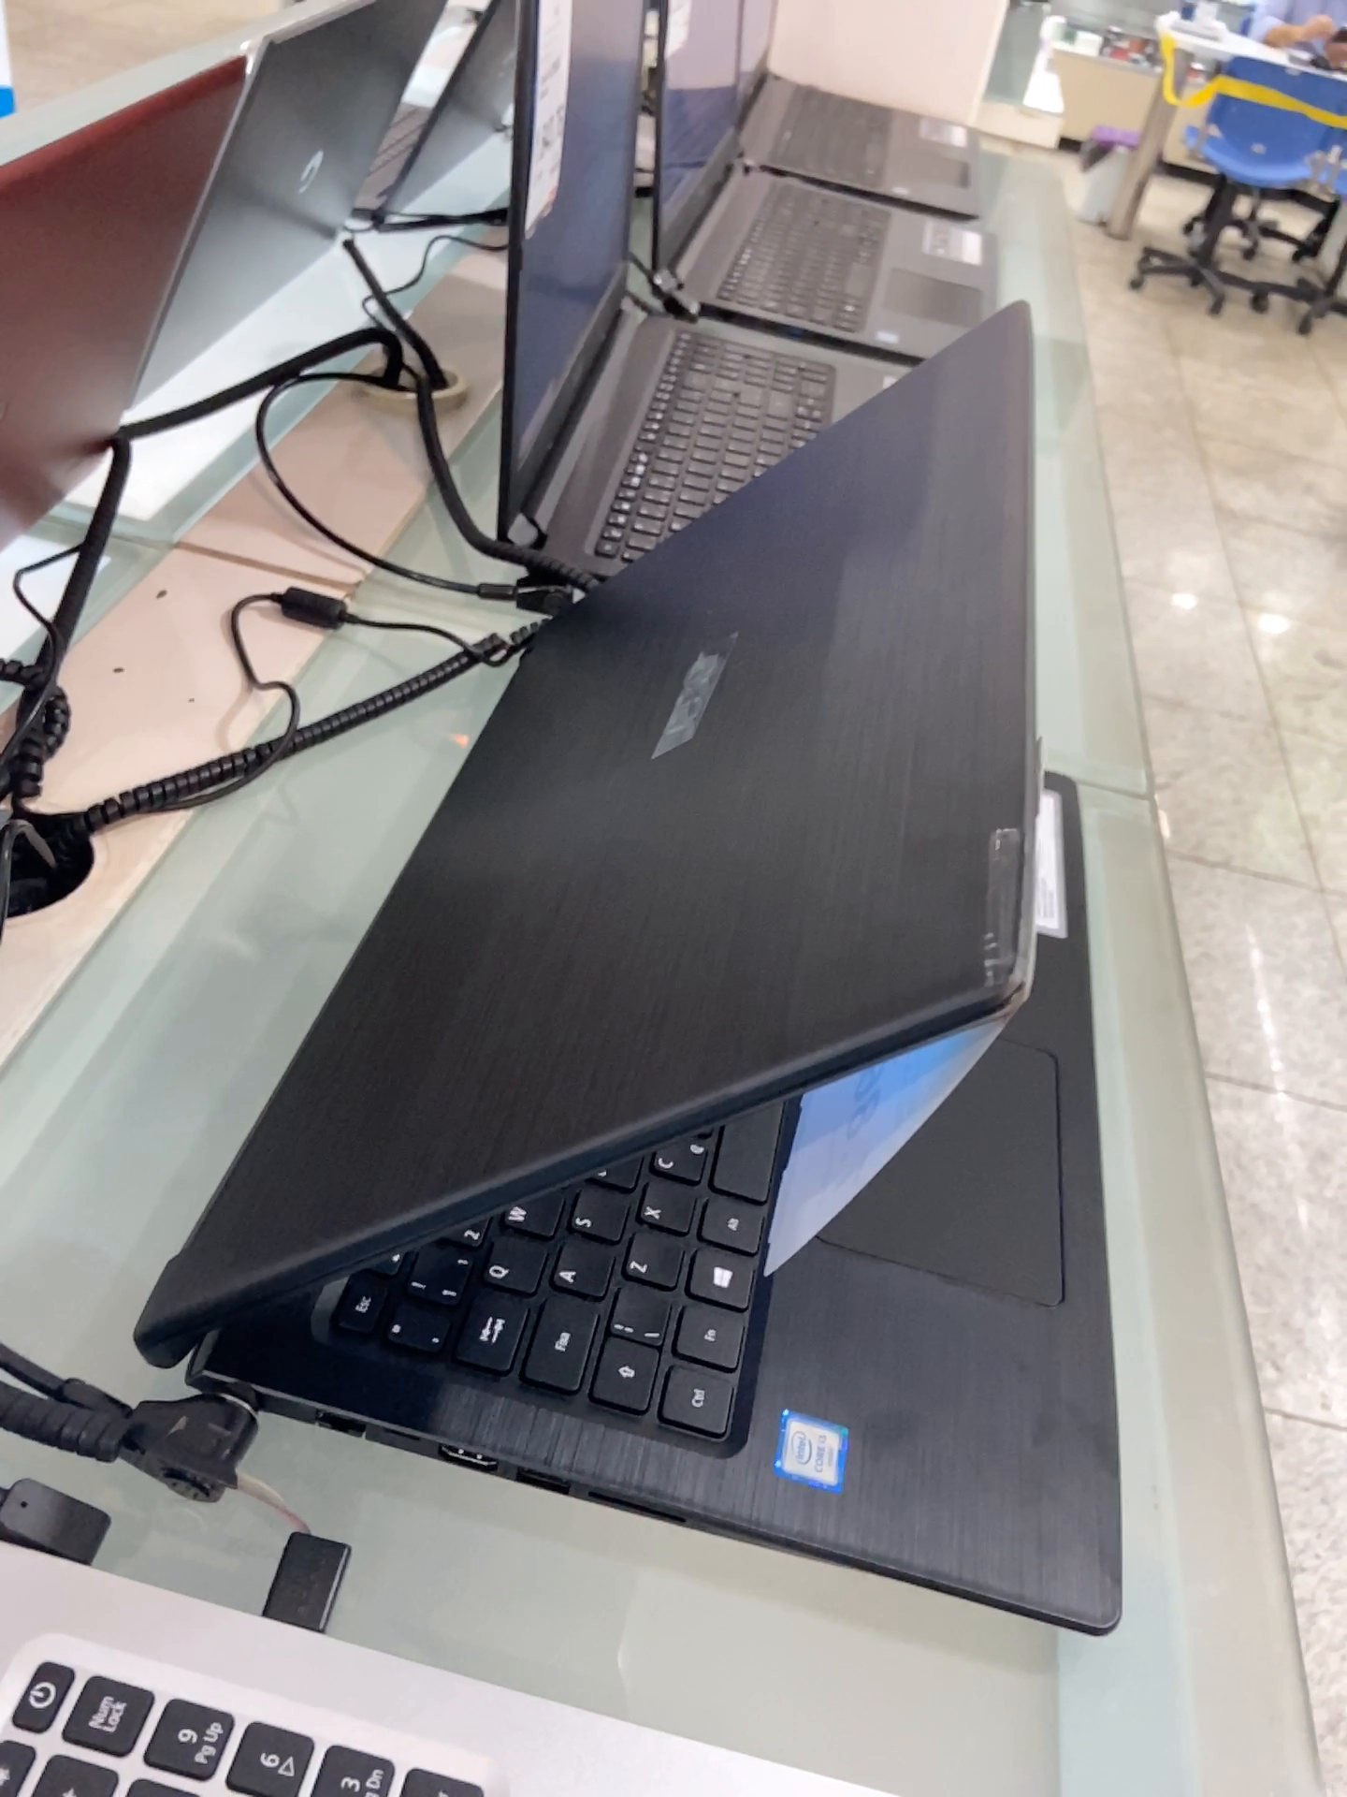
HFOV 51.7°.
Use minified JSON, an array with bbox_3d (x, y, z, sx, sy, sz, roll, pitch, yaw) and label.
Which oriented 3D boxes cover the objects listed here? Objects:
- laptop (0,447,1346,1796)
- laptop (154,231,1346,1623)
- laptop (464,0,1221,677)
[{"bbox_3d":[-0.101,0.198,0.082,0.301,0.233,0.397,15,41,3],"label":"laptop"},{"bbox_3d":[0.049,-0.035,0.432,0.233,0.186,0.376,15,40,3],"label":"laptop"},{"bbox_3d":[0.071,-0.374,0.783,0.284,0.245,0.433,12,39,-1],"label":"laptop"}]
